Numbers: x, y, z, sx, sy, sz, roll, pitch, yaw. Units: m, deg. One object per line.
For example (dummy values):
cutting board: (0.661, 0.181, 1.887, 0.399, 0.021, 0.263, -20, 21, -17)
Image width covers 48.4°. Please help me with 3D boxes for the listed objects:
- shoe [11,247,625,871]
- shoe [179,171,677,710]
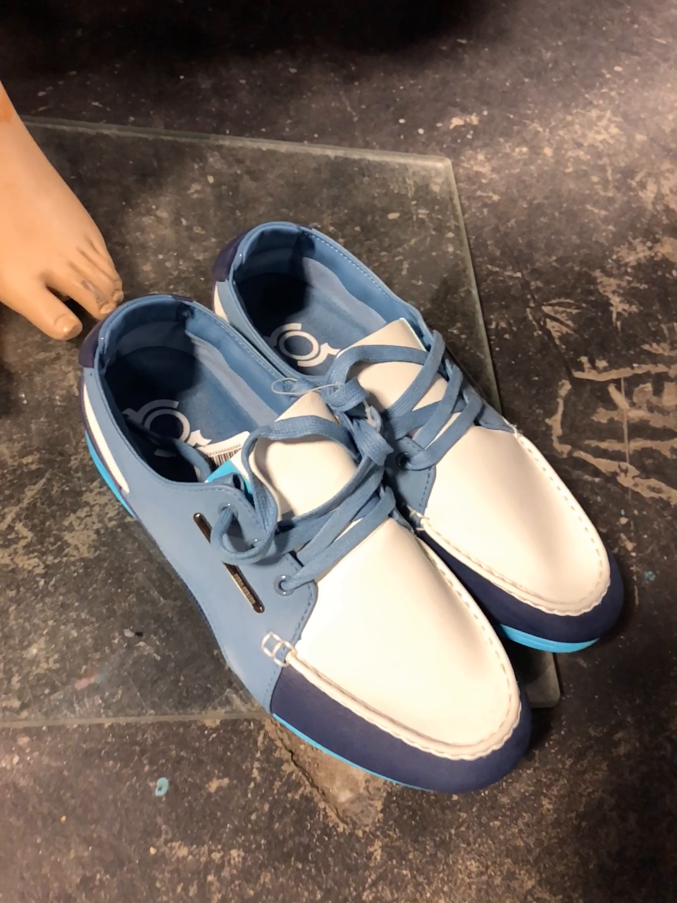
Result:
shoe: (-0.023, 0.042, 0.337, 0.090, 0.099, 0.261, -36, 71, -27)
shoe: (0.041, -0.011, 0.381, 0.100, 0.099, 0.250, -37, 72, -25)
